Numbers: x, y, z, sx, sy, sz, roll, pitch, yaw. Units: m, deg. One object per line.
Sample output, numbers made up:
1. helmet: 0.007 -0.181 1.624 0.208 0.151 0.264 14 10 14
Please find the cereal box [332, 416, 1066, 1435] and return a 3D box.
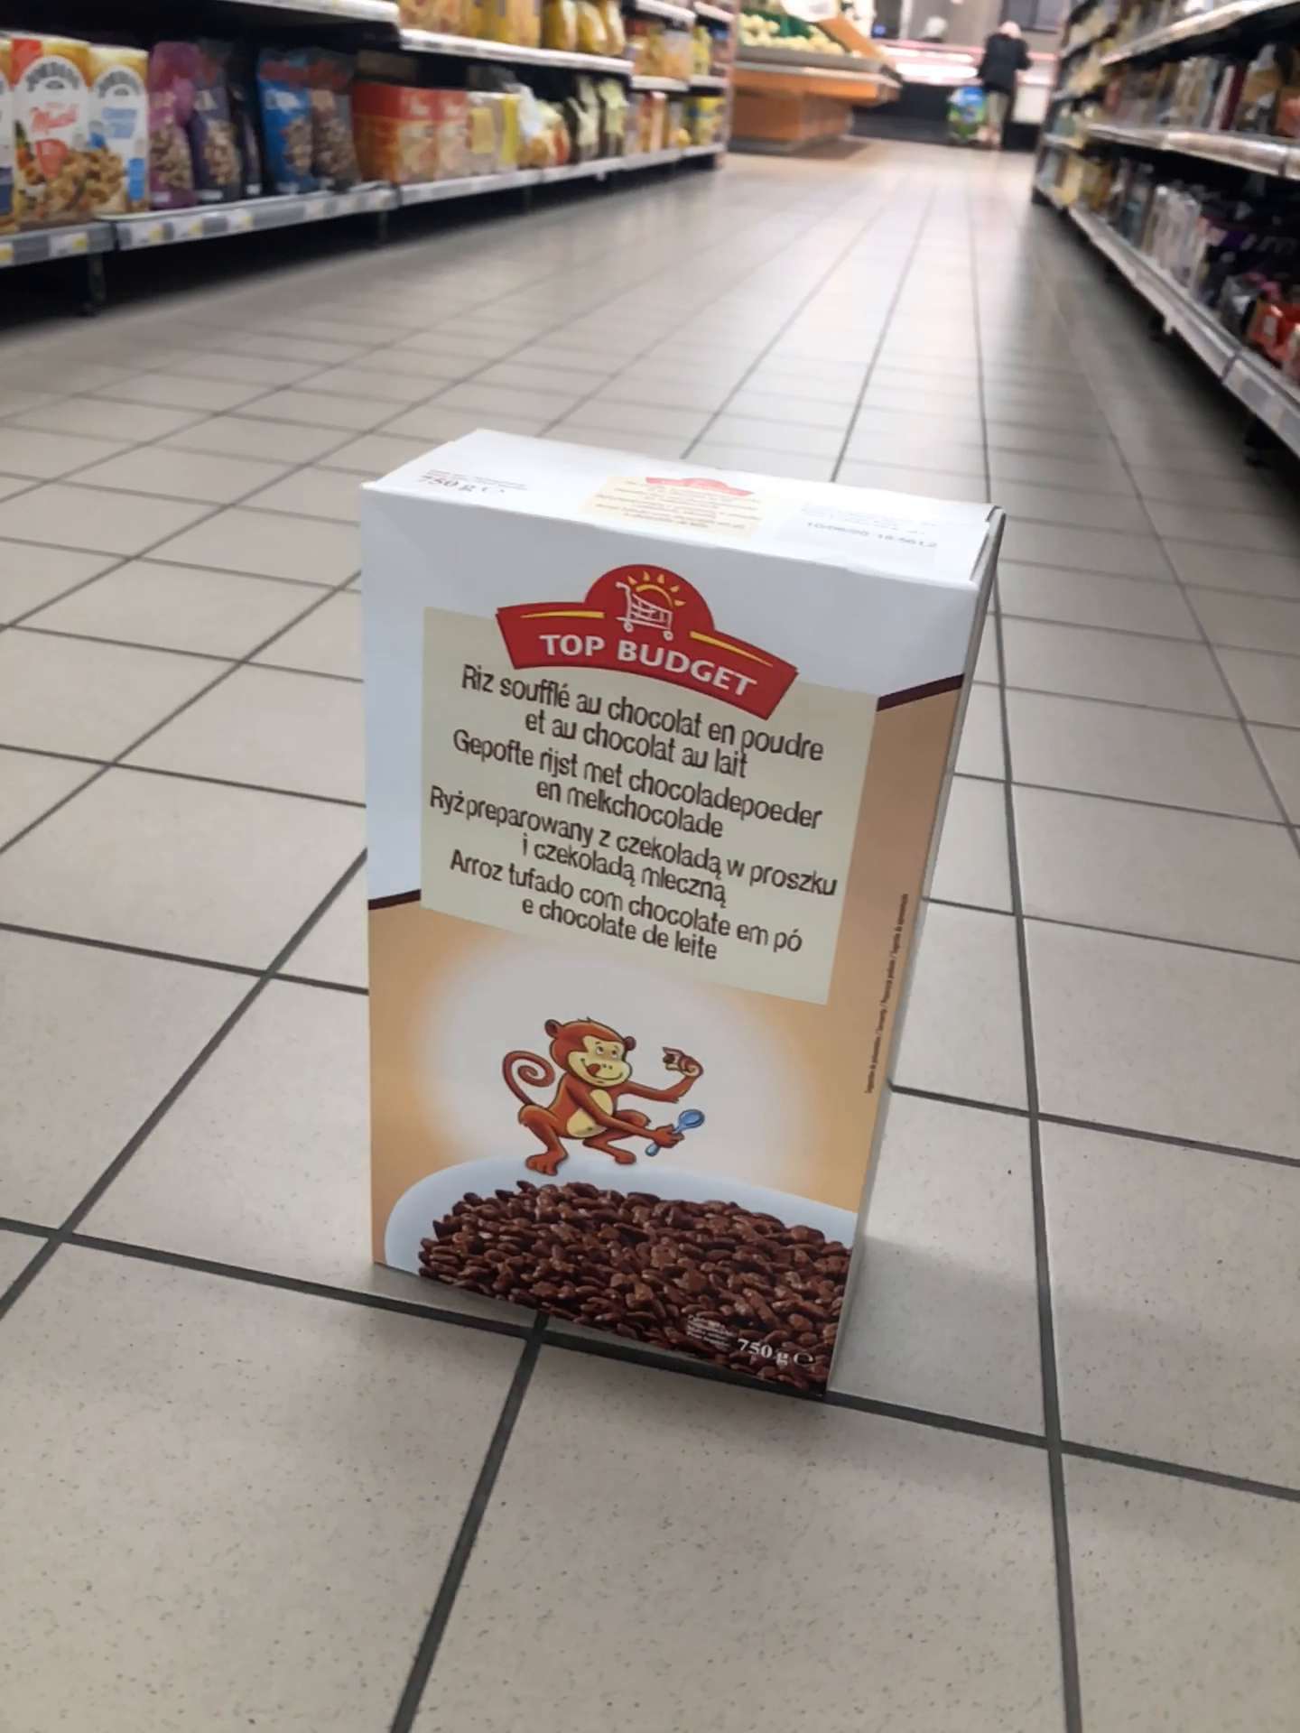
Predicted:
1. cereal box: 0.008 0.022 0.525 0.210 0.318 0.111 13 28 14
